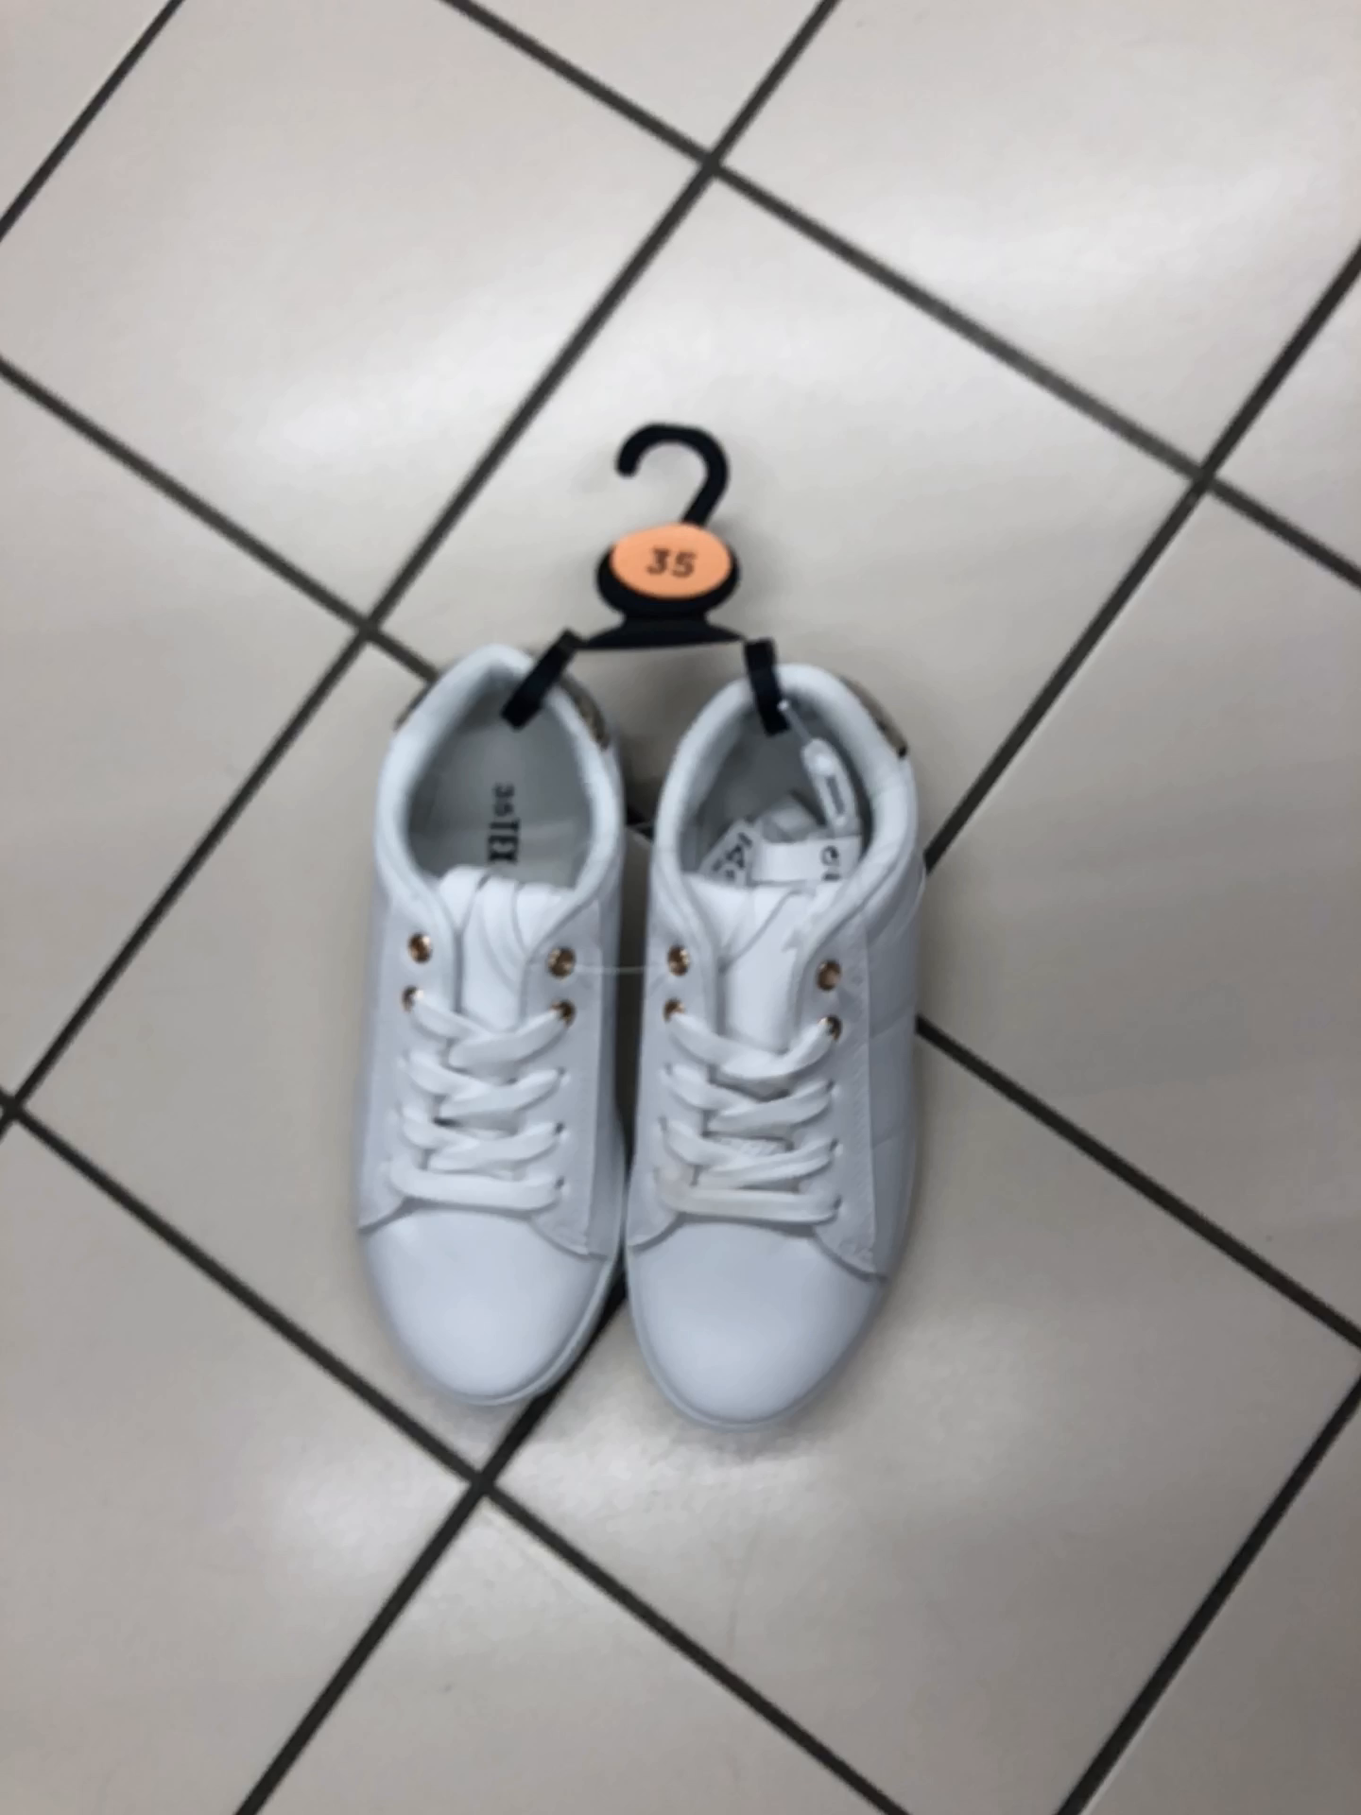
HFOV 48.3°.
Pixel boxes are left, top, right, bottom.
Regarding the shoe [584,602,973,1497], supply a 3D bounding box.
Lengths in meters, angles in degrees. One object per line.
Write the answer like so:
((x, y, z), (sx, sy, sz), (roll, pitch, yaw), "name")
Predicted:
((0.032, 0.039, 0.459), (0.090, 0.080, 0.240), (4, 84, 5), "shoe")

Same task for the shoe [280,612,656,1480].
((-0.059, 0.039, 0.465), (0.090, 0.080, 0.240), (1, 84, 5), "shoe")
